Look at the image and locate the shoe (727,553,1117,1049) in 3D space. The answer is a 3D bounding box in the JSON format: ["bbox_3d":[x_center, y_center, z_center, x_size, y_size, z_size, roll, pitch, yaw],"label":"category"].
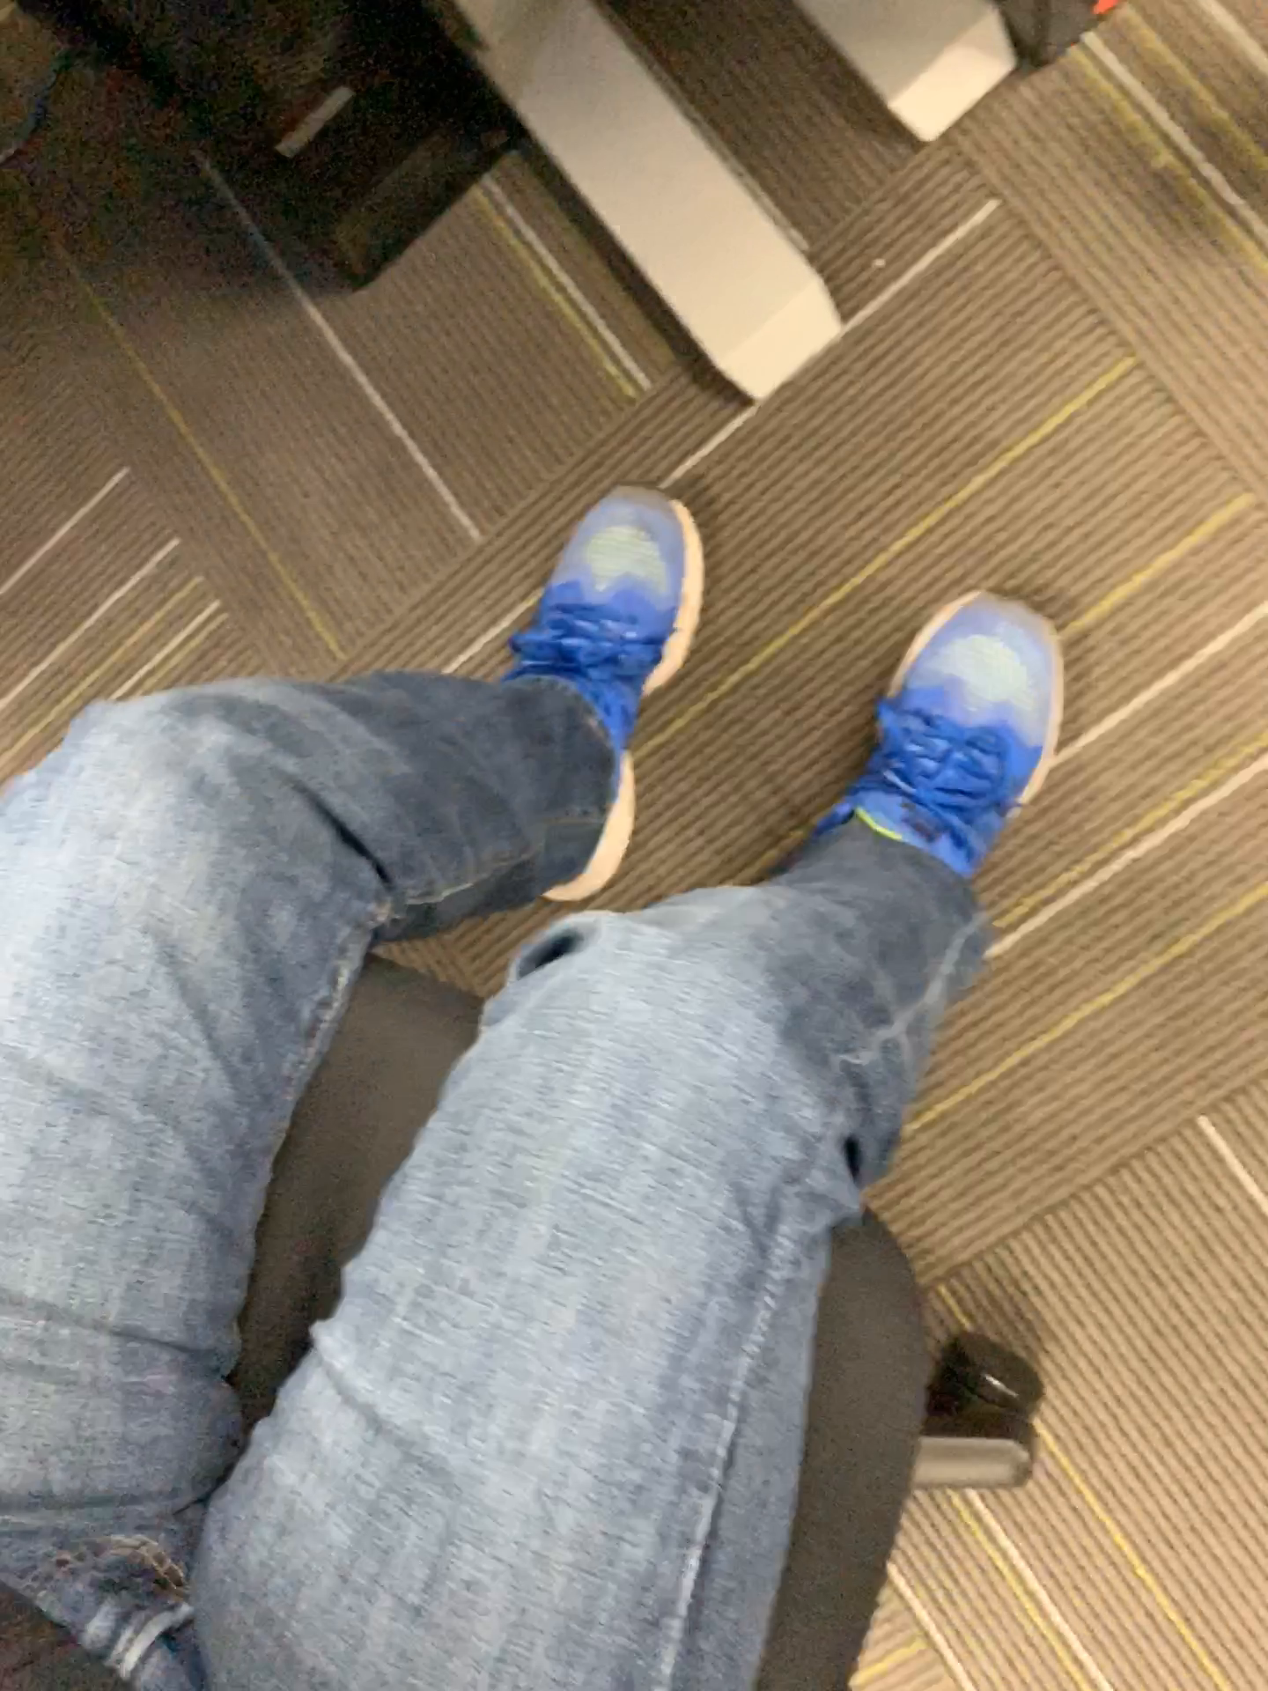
[{"bbox_3d":[0.182,-0.027,0.833,0.117,0.083,0.278,28,98,14],"label":"shoe"}]

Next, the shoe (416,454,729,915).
[{"bbox_3d":[-0.041,-0.105,0.889,0.116,0.083,0.278,19,95,15],"label":"shoe"}]
